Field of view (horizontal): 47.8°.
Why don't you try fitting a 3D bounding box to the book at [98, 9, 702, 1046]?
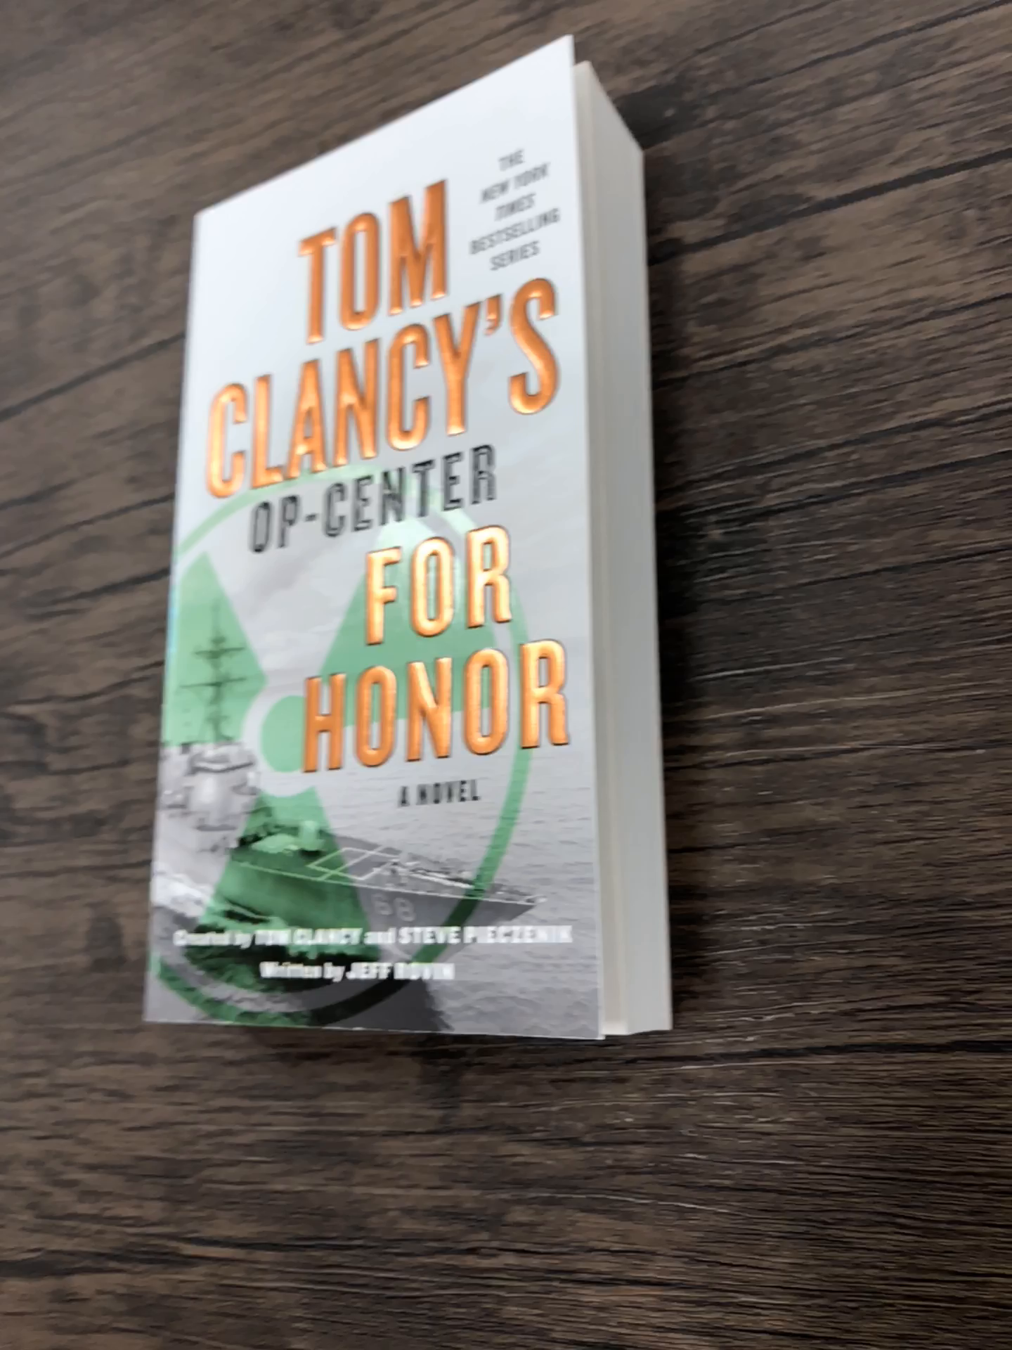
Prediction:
[{"bbox_3d":[-0.025,-0.024,0.241,0.113,0.040,0.190,-9,74,30],"label":"book"}]
